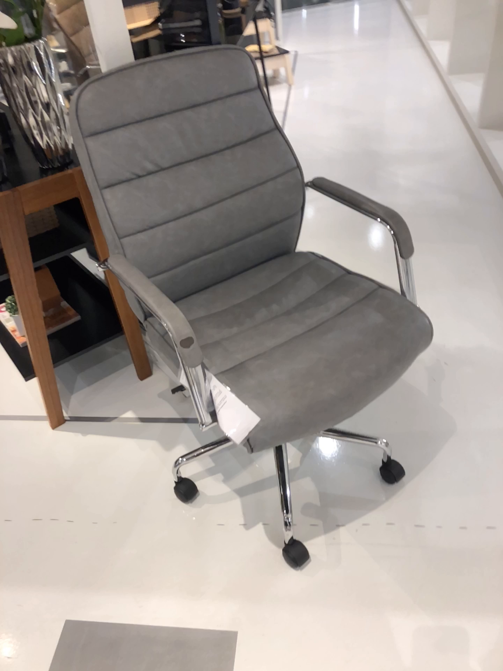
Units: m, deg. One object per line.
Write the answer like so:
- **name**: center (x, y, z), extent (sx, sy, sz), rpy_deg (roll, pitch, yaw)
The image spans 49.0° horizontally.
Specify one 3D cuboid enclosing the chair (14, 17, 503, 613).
- **chair**: center (0.033, -0.039, 1.190), extent (0.601, 0.992, 0.553), rpy_deg (-25, 42, -22)
